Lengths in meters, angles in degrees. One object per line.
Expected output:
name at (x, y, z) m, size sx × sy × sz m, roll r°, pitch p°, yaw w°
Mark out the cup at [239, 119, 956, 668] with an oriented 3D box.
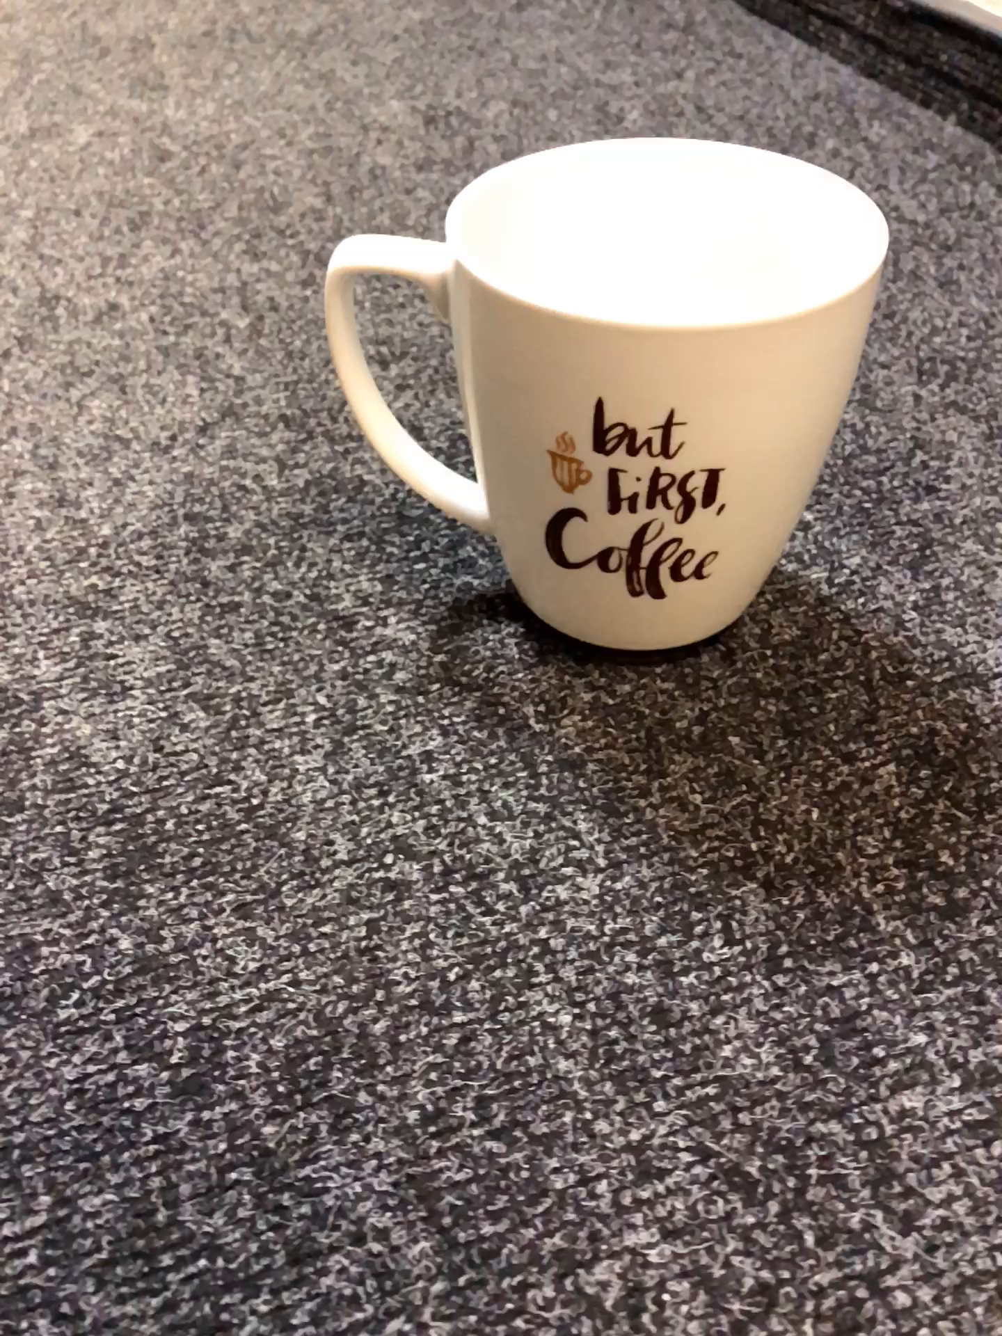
cup at (0.021, -0.076, 0.300) m, size 0.145 × 0.100 × 0.111 m, roll 1°, pitch 44°, yaw 2°
